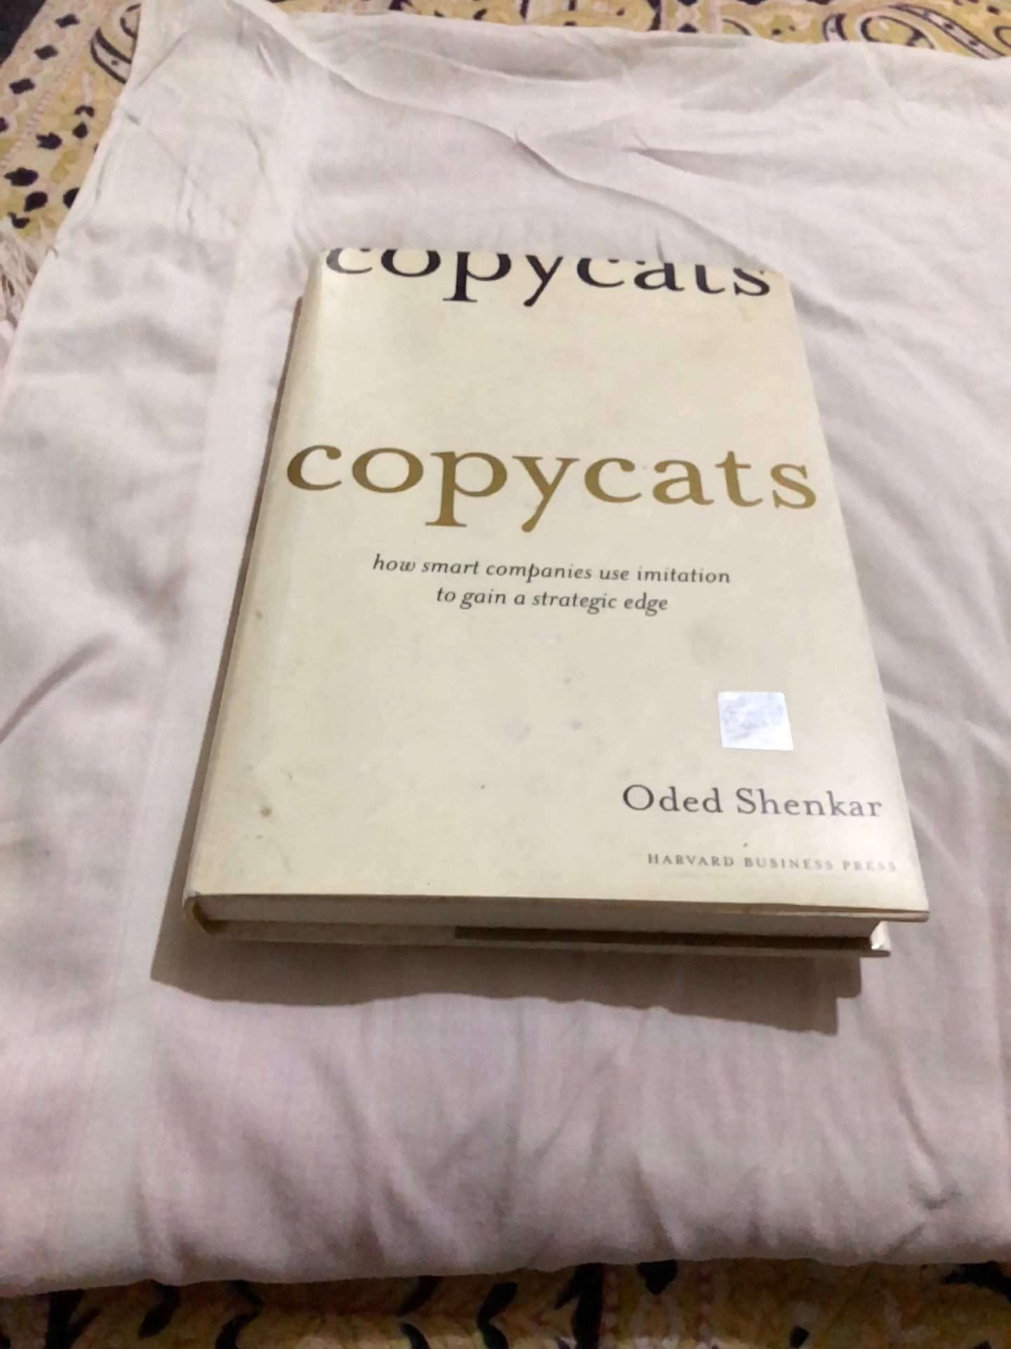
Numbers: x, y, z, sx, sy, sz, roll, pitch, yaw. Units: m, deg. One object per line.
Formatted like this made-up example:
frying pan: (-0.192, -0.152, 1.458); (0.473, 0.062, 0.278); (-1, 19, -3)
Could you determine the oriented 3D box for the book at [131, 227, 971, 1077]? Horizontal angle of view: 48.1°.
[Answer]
book: (0.014, -0.026, 0.287); (0.150, 0.040, 0.231); (3, 53, 1)
